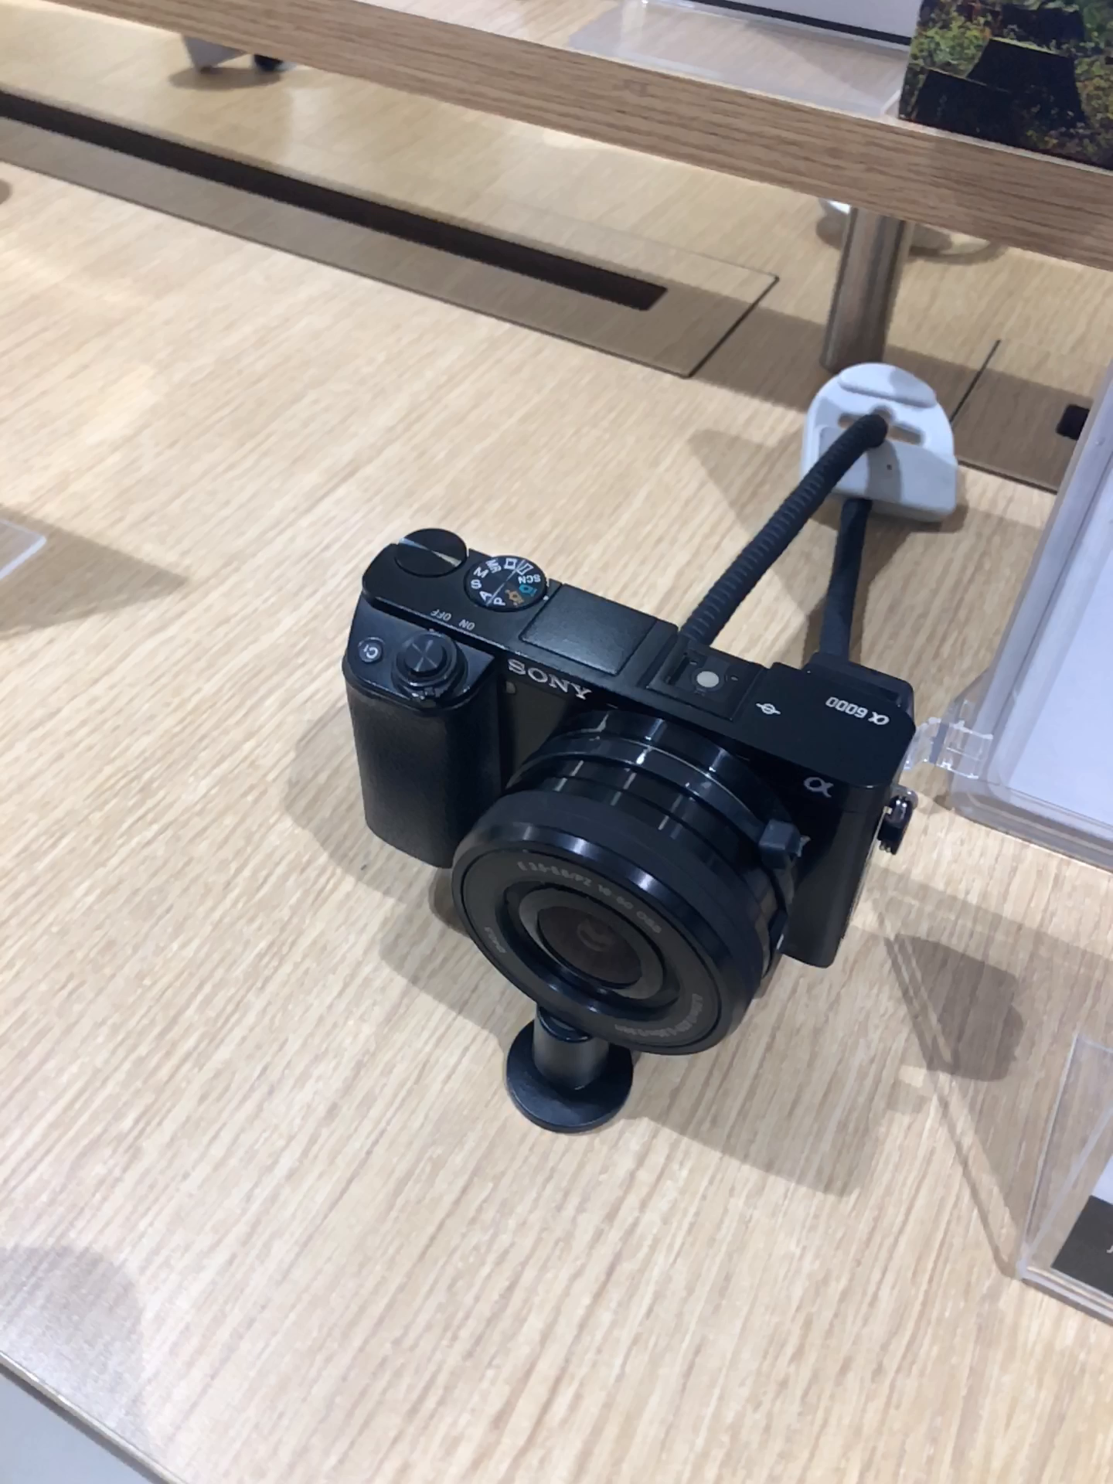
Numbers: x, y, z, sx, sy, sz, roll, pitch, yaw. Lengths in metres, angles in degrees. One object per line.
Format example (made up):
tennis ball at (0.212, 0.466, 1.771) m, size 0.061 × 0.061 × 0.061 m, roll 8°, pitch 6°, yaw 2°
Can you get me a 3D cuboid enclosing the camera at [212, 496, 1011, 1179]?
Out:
camera at (0.010, 0.015, 0.254) m, size 0.130 × 0.070 × 0.070 m, roll 21°, pitch 50°, yaw 17°
